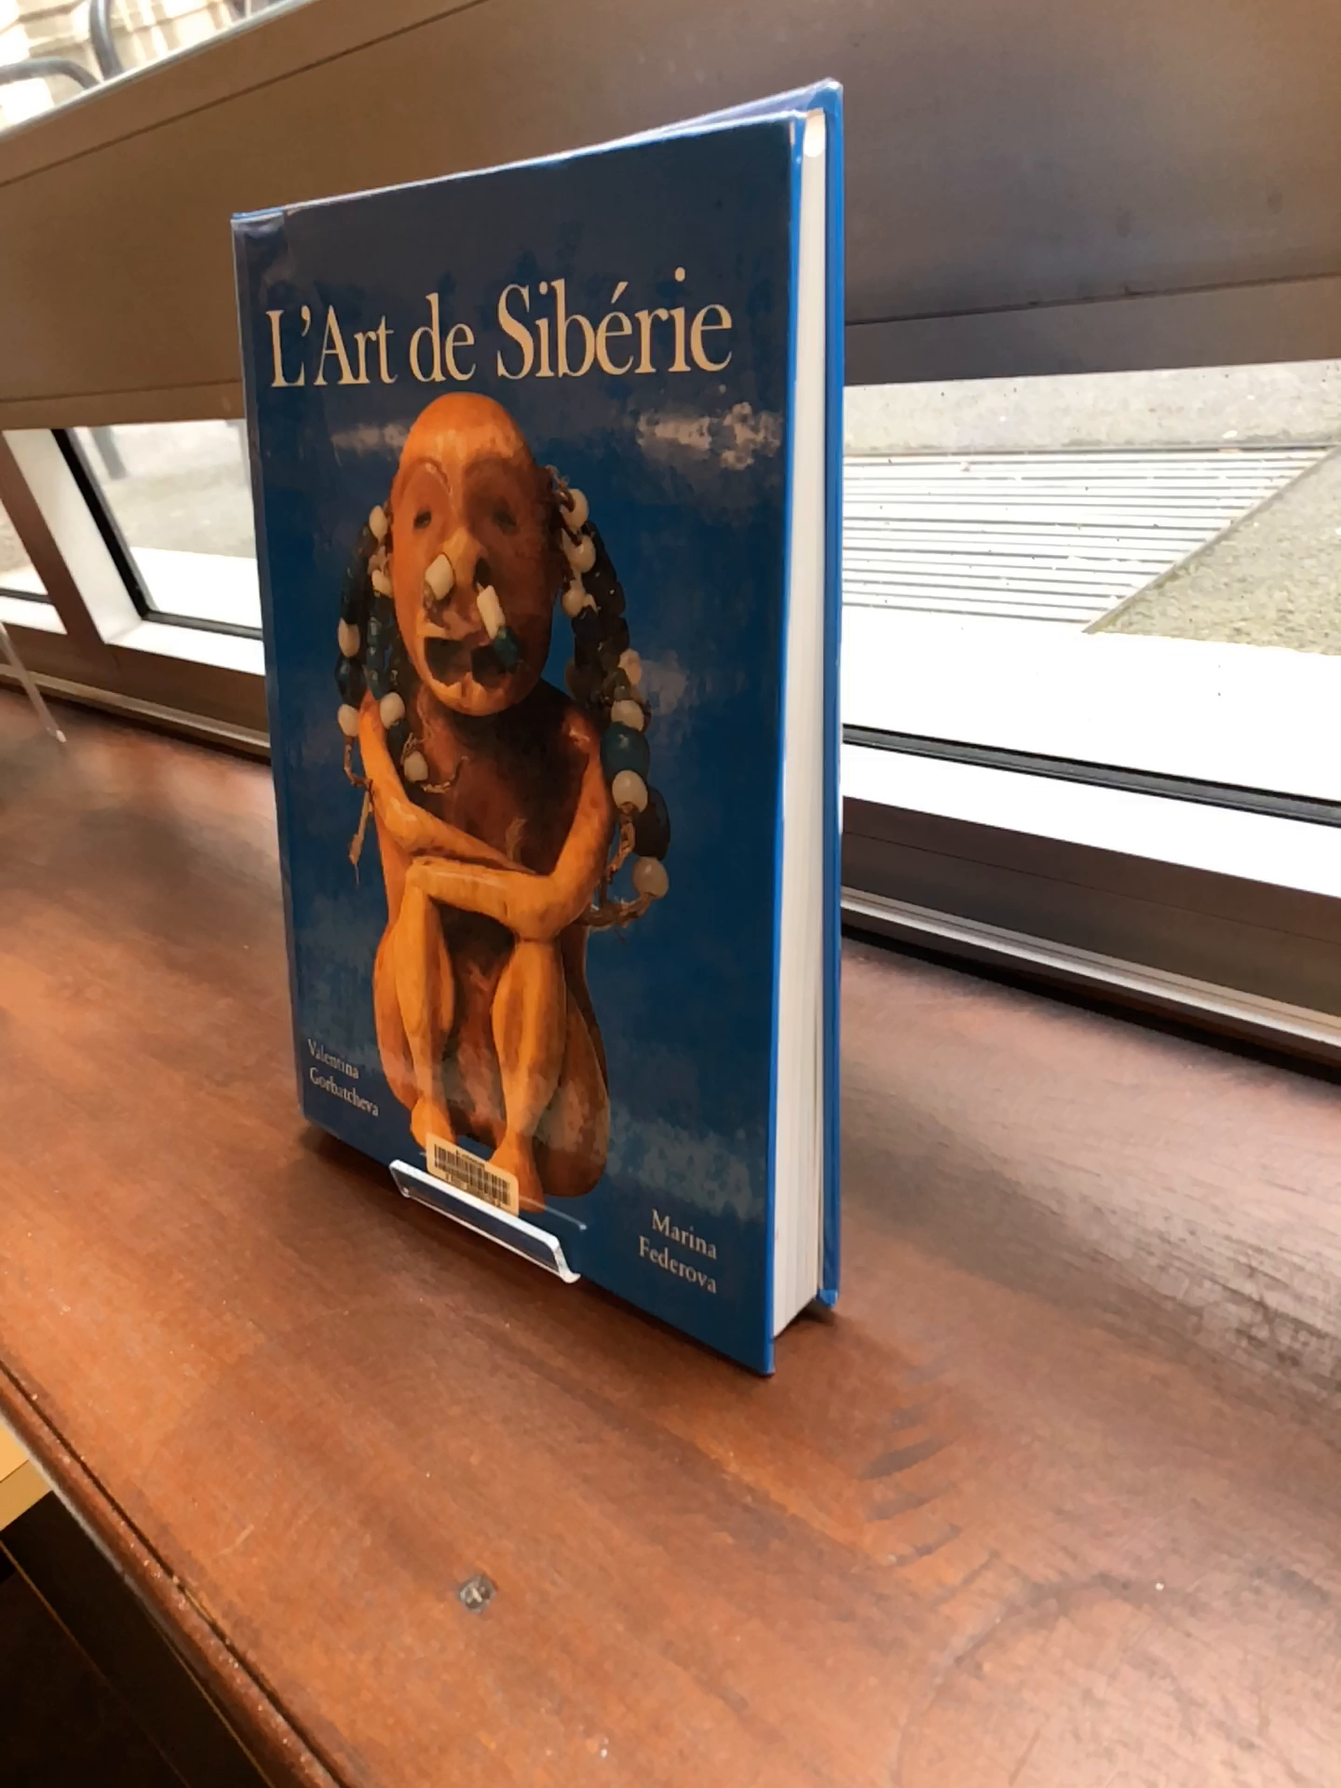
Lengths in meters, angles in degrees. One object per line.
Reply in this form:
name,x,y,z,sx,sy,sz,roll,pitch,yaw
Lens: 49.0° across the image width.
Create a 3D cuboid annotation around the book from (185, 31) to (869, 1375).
book,-0.052,-0.054,0.481,0.254,0.349,0.044,13,22,42
